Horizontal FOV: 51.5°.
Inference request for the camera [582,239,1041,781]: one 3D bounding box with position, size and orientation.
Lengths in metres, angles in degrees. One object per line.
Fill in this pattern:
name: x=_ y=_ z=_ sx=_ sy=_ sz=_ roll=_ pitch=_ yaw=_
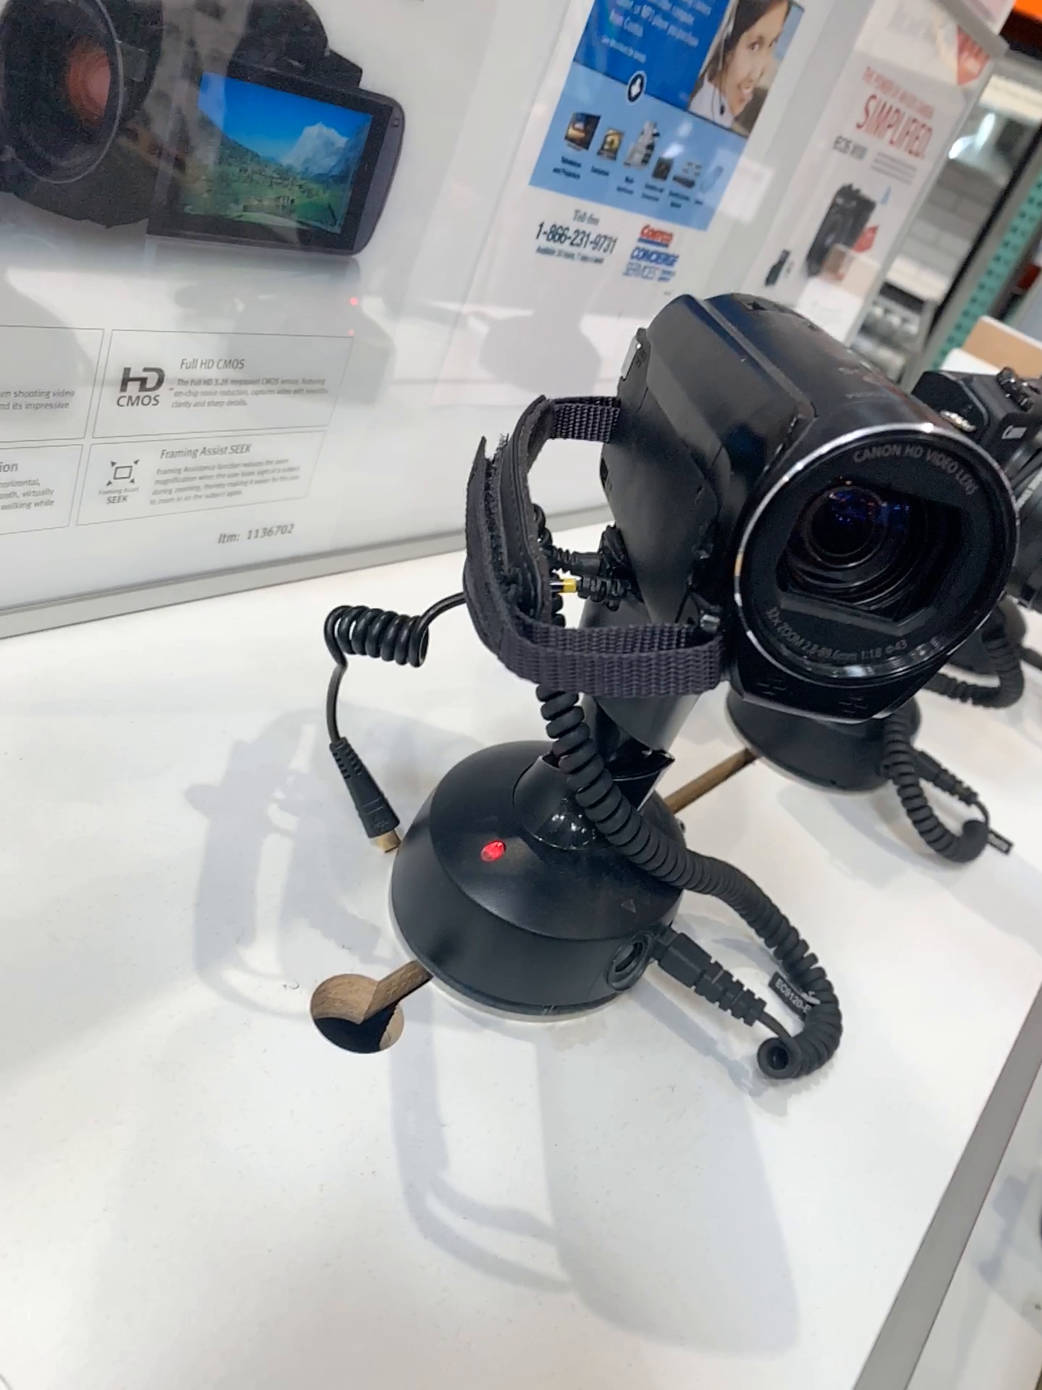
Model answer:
camera: x=0.051 y=-0.046 z=0.219 sx=0.050 sy=0.050 sz=0.126 roll=16 pitch=30 yaw=-14
